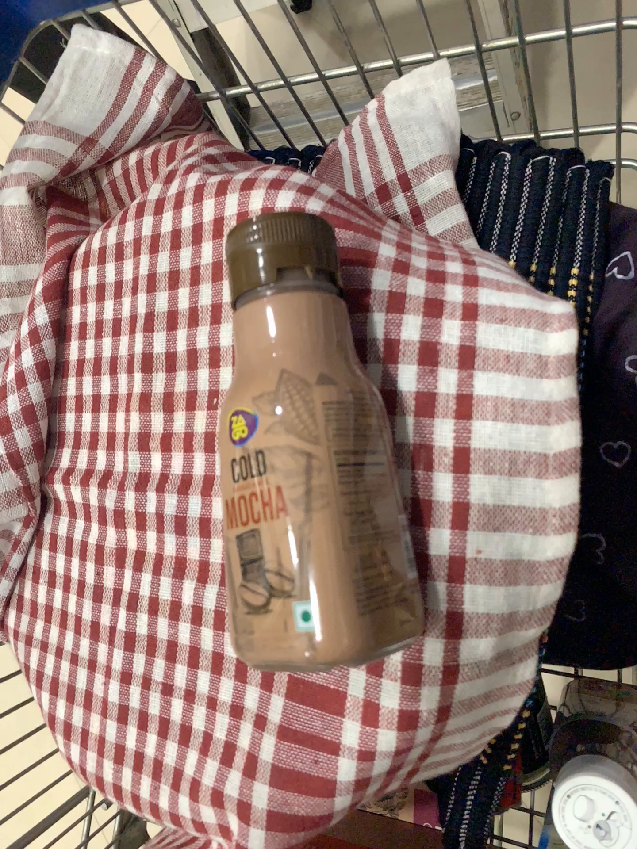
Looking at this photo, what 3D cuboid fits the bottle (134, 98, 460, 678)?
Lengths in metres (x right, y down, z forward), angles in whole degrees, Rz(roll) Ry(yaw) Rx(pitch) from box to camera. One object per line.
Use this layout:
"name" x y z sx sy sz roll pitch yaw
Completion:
"bottle" -0.008 -0.009 0.230 0.060 0.070 0.170 -15 79 37
